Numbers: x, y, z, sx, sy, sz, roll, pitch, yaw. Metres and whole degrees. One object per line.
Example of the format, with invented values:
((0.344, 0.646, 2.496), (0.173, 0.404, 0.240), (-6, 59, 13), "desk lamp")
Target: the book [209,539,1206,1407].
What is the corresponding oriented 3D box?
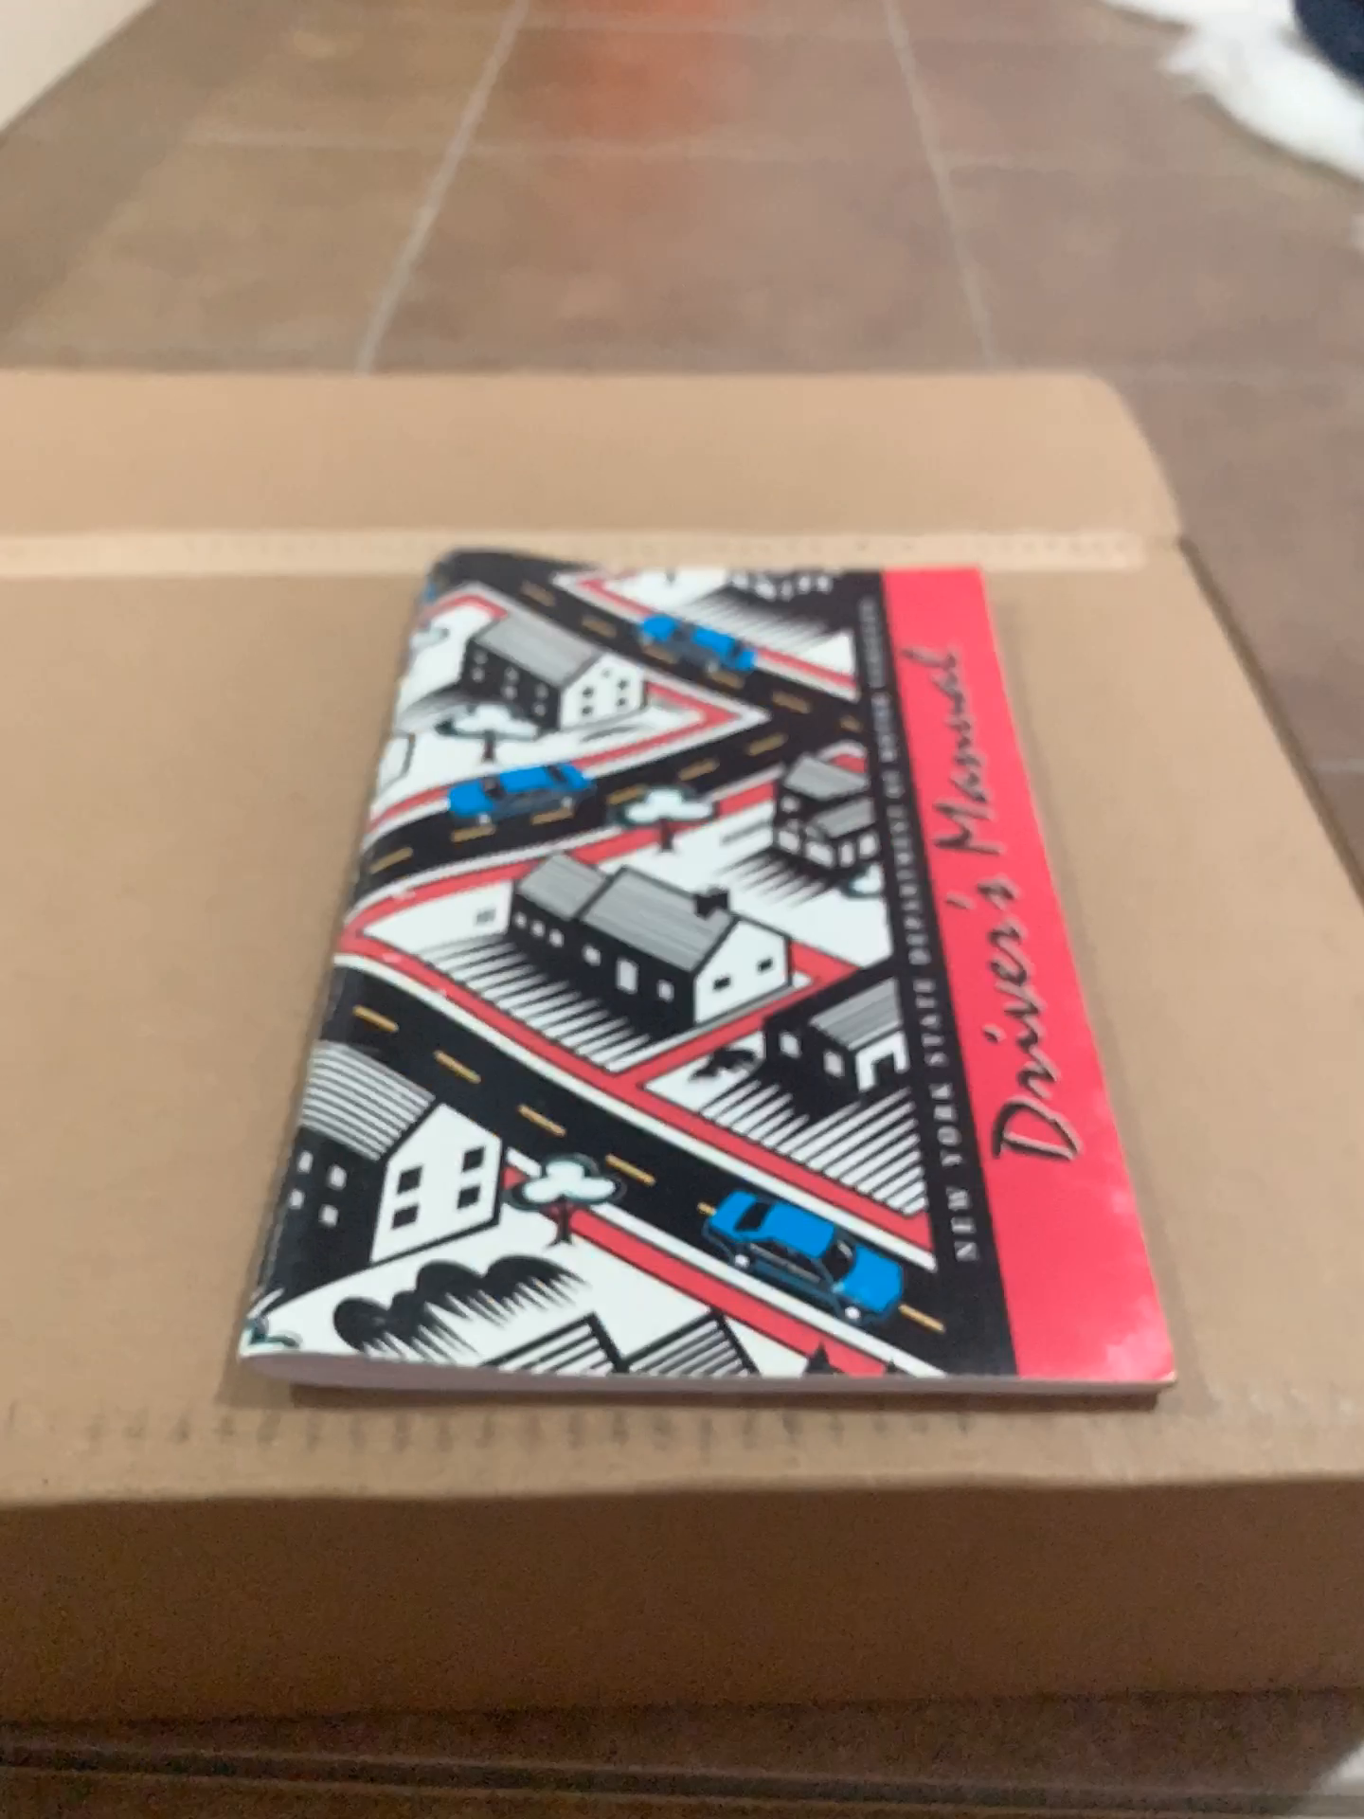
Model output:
((0.005, -0.009, 0.271), (0.133, 0.013, 0.208), (1, 45, 0), "book")
